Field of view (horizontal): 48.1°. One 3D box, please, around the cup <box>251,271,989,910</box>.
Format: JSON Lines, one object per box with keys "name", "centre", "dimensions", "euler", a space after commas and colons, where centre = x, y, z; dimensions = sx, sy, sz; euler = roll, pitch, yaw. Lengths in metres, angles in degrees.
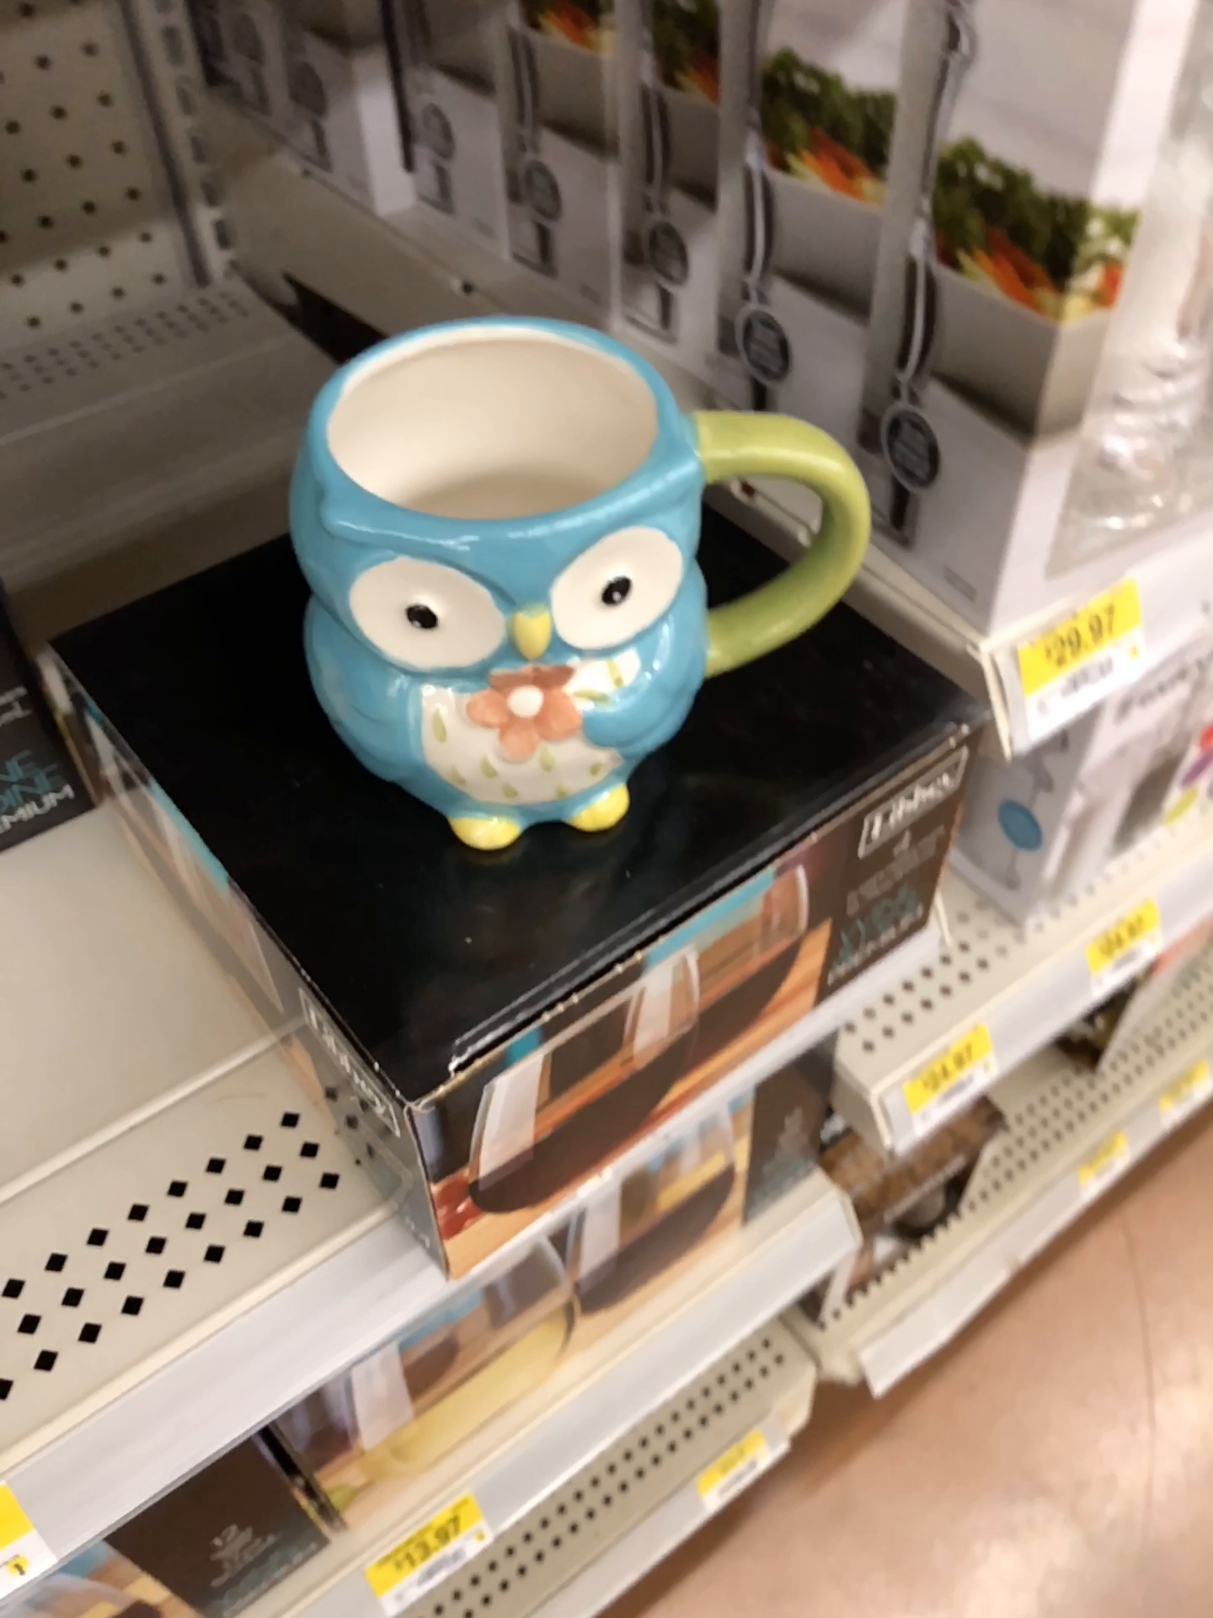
{"name": "cup", "centre": [0.002, -0.050, 0.328], "dimensions": [0.140, 0.110, 0.090], "euler": [-4, 49, -1]}
